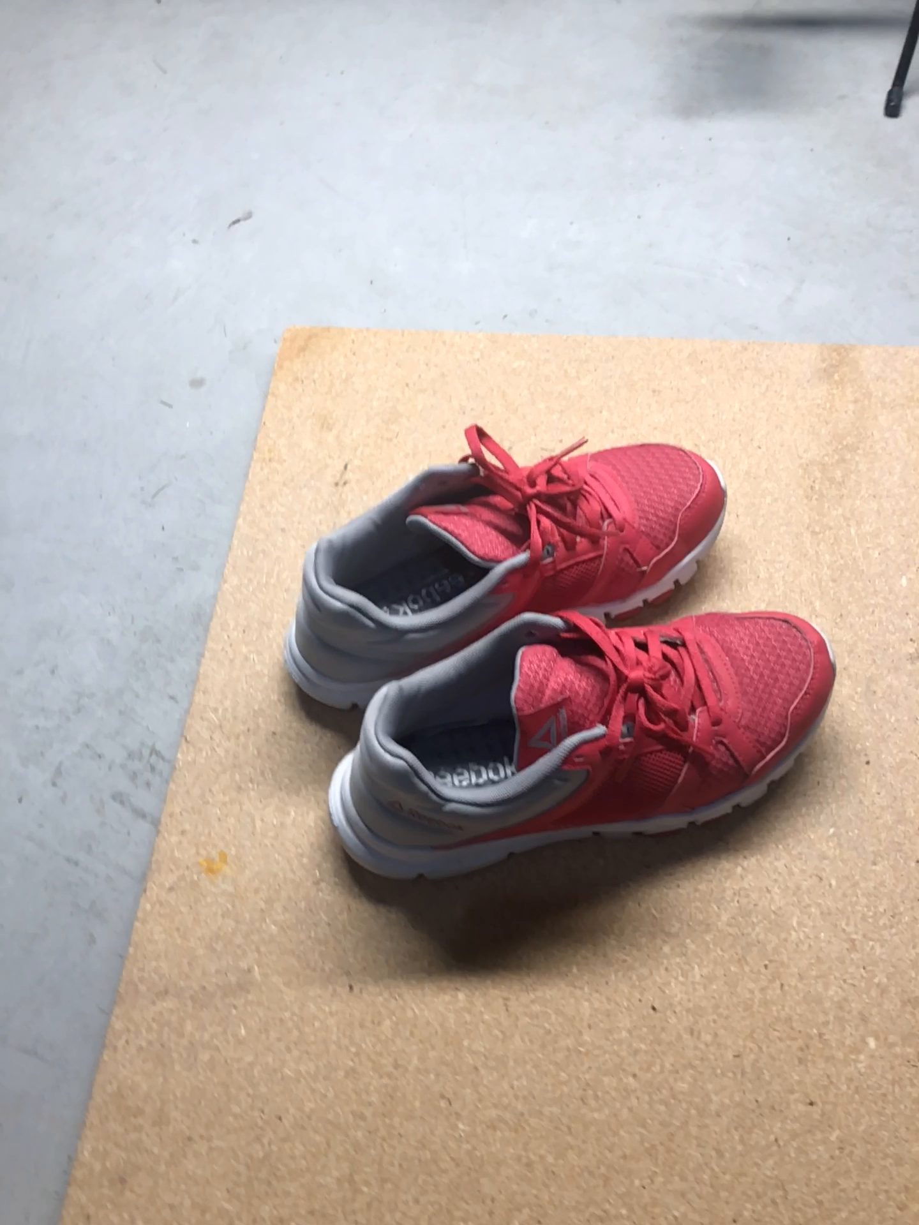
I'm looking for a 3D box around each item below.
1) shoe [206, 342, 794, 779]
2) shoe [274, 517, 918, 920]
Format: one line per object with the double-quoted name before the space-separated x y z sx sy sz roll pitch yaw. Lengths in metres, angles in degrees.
"shoe" 0.021 -0.029 0.548 0.270 0.100 0.110 -22 61 -9
"shoe" 0.060 0.053 0.495 0.270 0.100 0.100 -14 60 -5
